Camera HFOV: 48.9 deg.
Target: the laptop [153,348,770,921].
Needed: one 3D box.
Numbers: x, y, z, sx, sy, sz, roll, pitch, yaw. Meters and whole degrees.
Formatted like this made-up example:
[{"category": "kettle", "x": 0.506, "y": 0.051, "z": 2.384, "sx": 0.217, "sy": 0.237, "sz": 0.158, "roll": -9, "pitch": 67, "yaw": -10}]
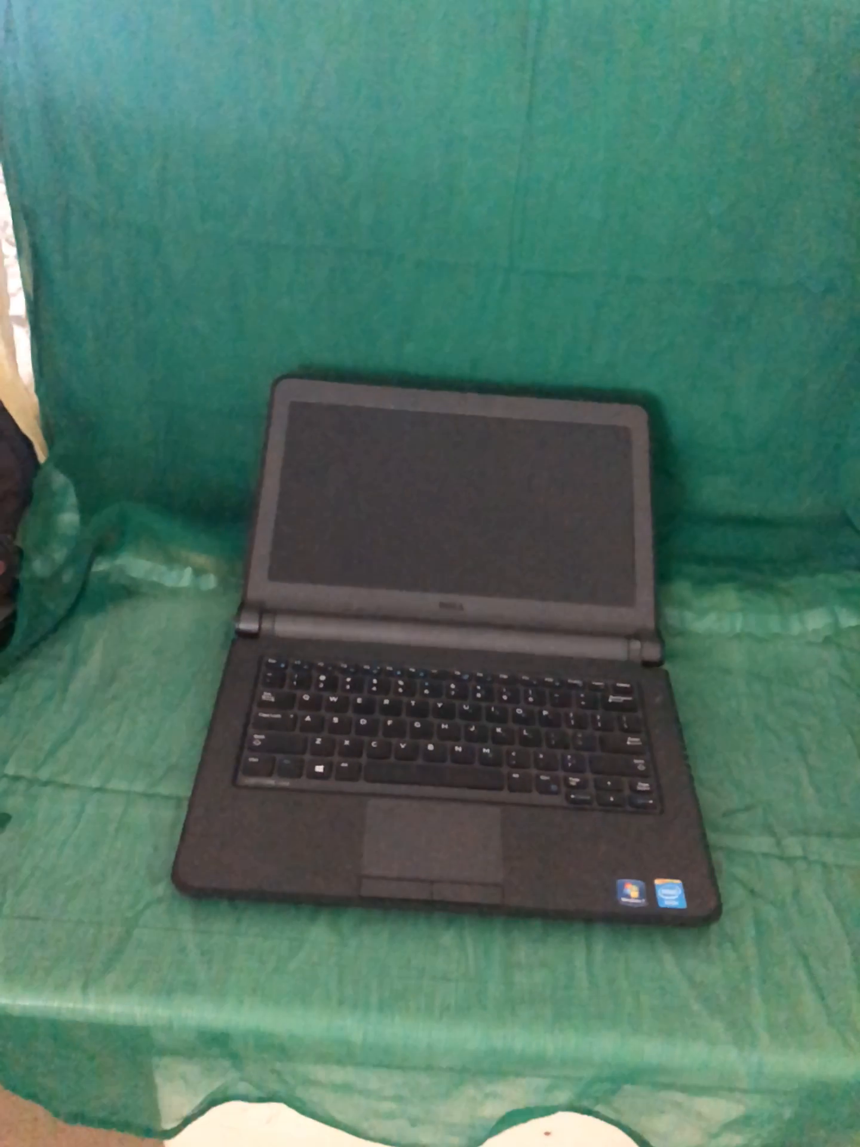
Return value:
[{"category": "laptop", "x": 0.020, "y": 0.006, "z": 0.659, "sx": 0.311, "sy": 0.096, "sz": 0.422, "roll": 4, "pitch": 42, "yaw": -2}]
